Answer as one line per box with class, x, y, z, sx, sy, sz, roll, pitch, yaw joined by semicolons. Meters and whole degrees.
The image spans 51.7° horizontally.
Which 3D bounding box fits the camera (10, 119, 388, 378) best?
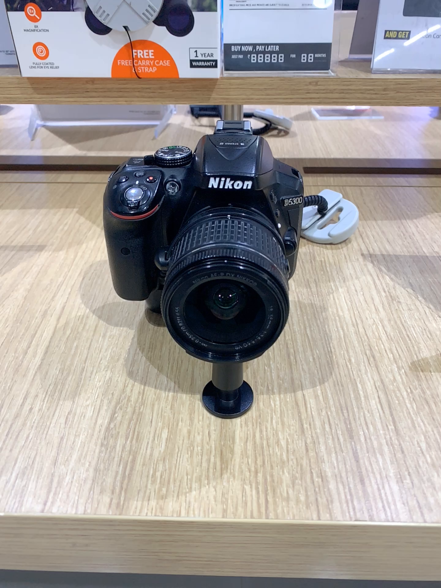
camera;-0.007;-0.030;0.228;0.130;0.080;0.121;0;35;0
